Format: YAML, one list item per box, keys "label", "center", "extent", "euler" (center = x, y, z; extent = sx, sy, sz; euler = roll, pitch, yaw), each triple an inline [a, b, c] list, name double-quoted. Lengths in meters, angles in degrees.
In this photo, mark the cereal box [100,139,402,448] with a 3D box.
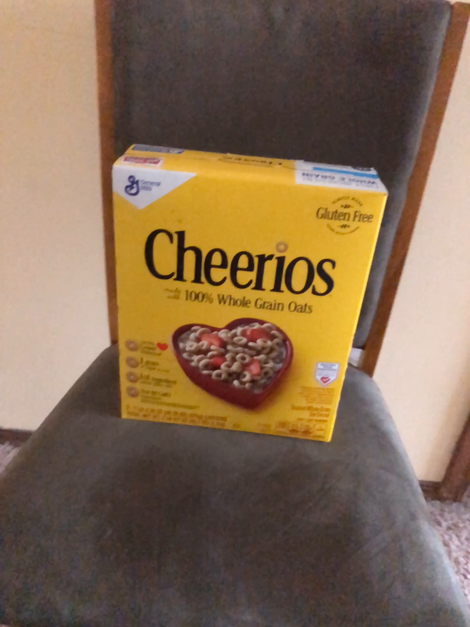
- label: "cereal box"
  center: [0.006, -0.011, 0.561]
  extent: [0.260, 0.299, 0.090]
  euler: [6, 31, 2]
